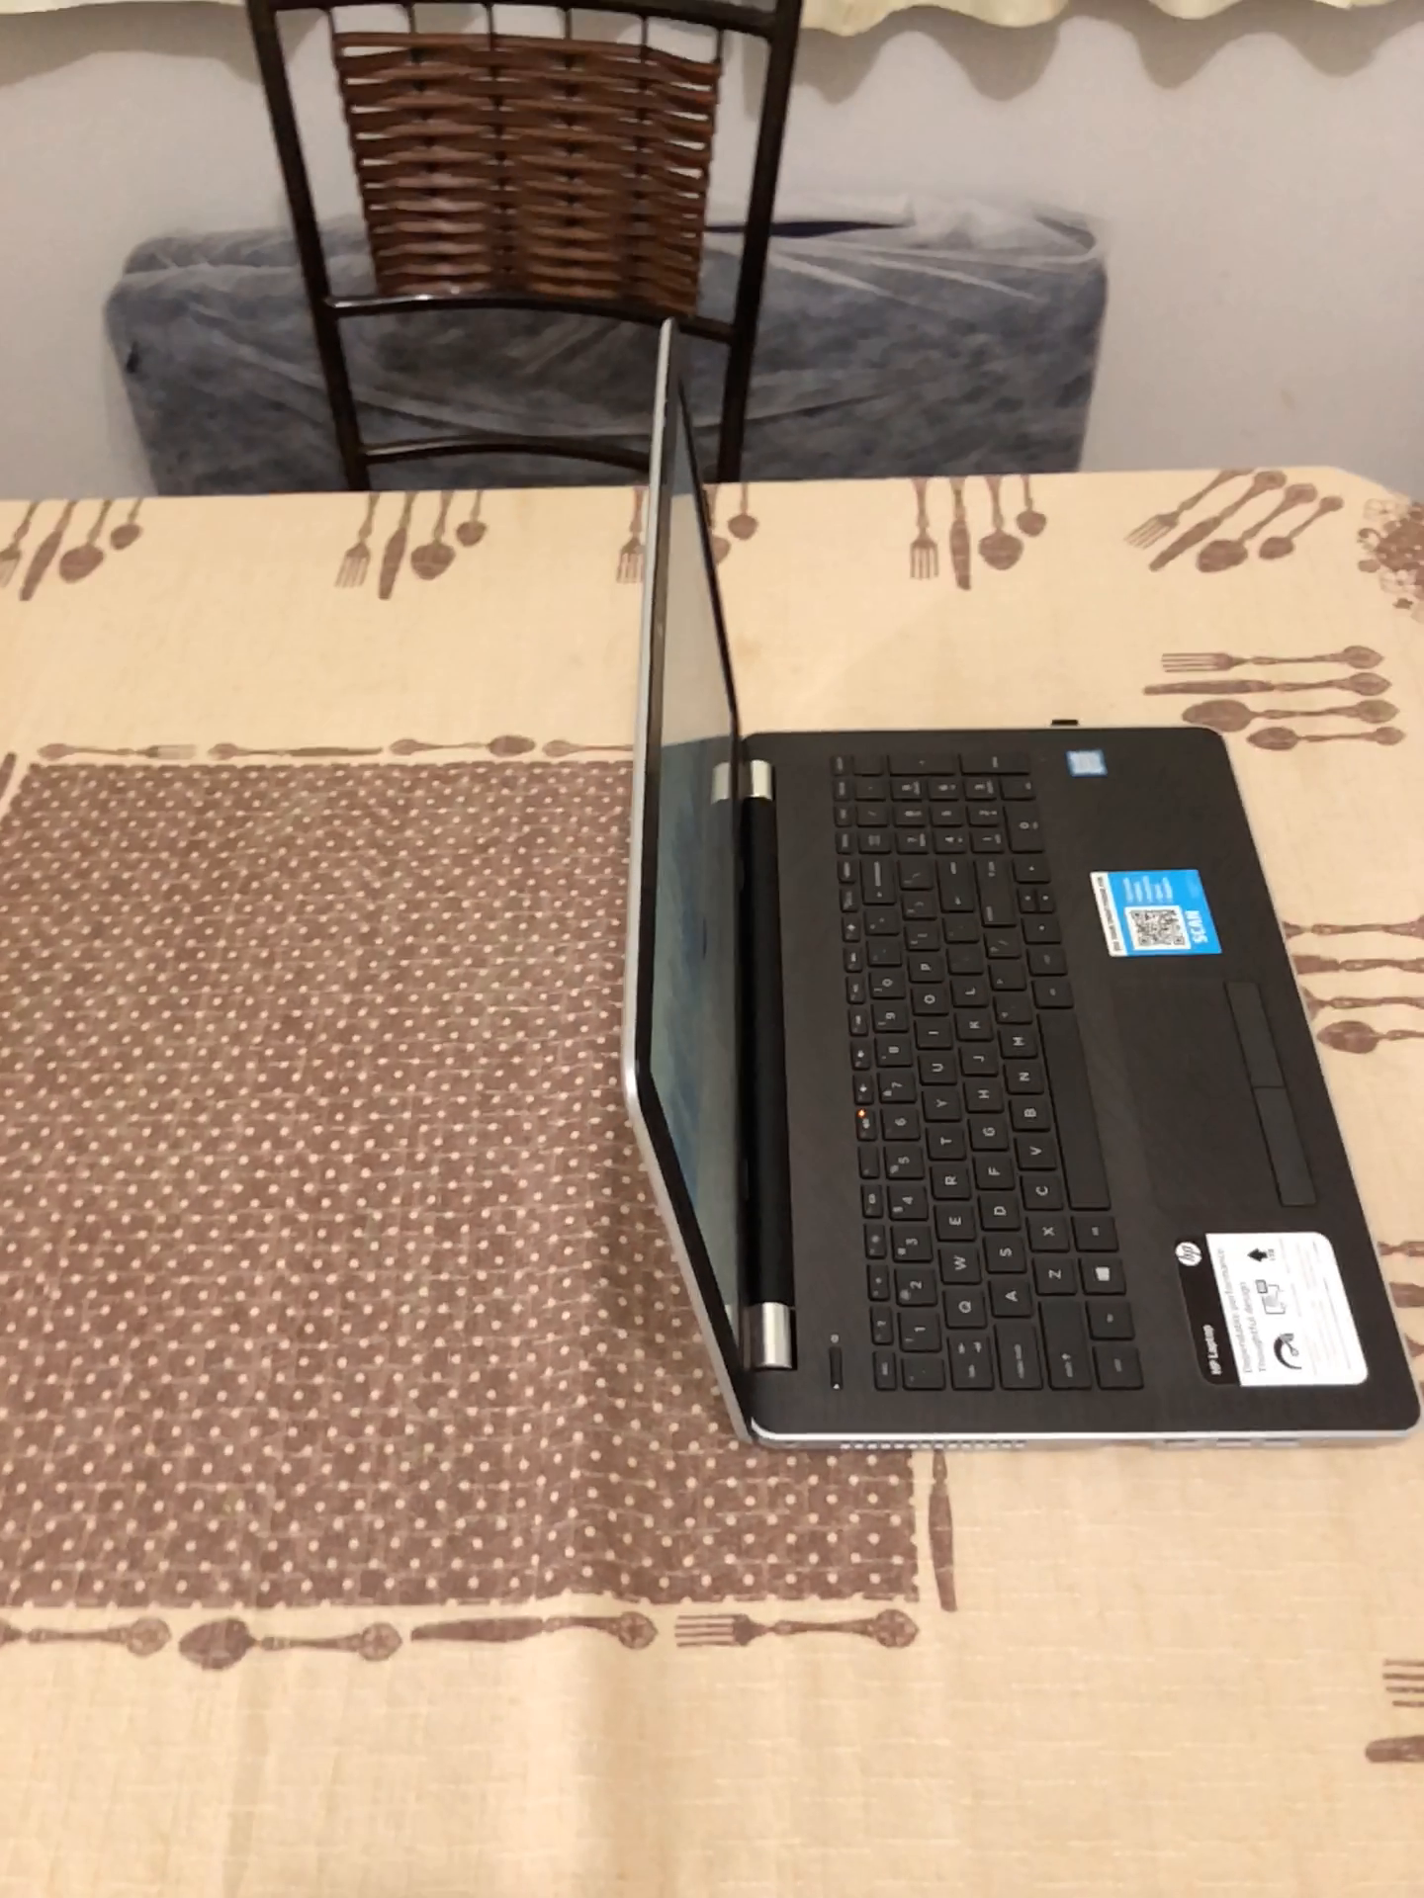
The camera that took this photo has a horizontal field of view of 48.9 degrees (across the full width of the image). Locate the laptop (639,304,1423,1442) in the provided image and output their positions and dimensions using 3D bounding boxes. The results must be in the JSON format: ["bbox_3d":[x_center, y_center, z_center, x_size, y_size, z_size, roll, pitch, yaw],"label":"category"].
[{"bbox_3d":[0.118,-0.038,0.587,0.267,0.226,0.362,-1,51,1],"label":"laptop"}]
